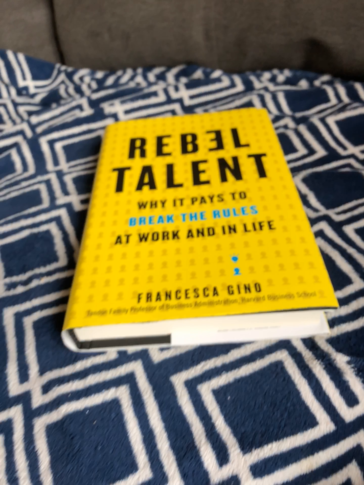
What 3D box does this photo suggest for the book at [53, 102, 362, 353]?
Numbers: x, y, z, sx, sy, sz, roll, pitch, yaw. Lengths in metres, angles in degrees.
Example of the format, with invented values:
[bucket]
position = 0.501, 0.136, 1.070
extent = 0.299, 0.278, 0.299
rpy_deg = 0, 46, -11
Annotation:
[book]
position = 0.010, -0.034, 0.317
extent = 0.167, 0.032, 0.238
rpy_deg = -4, 44, 2
